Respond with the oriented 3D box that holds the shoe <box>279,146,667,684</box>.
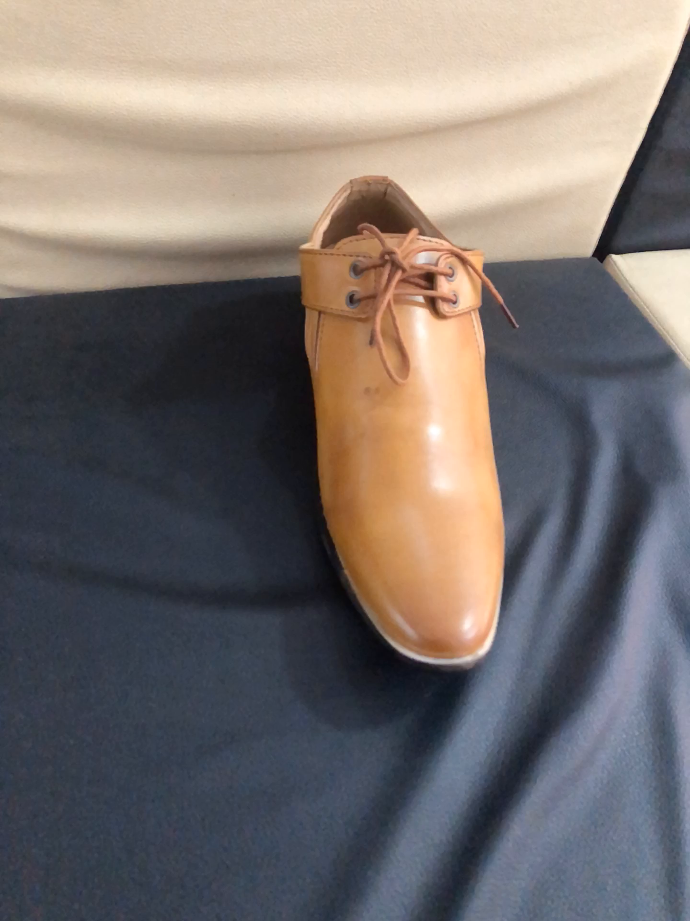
[{"bbox_3d":[0.034,-0.042,0.363,0.110,0.080,0.271,-1,49,-10],"label":"shoe"}]
